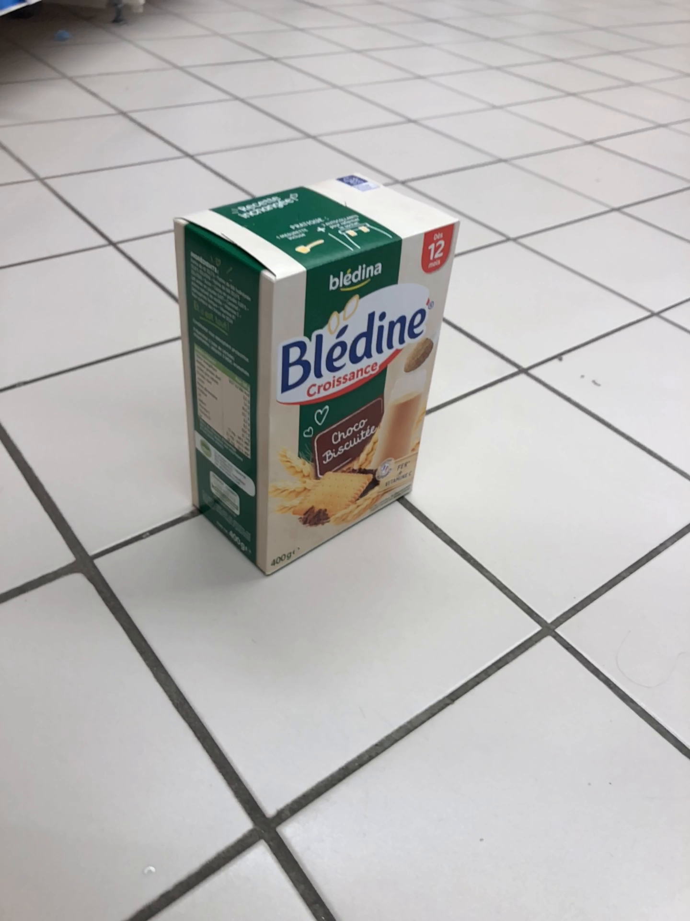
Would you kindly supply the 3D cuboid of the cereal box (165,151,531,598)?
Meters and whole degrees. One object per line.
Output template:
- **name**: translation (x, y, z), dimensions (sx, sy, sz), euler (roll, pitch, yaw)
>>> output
- **cereal box**: translation (-0.004, -0.056, 0.459), dimensions (0.151, 0.199, 0.120), euler (-27, 49, -35)
